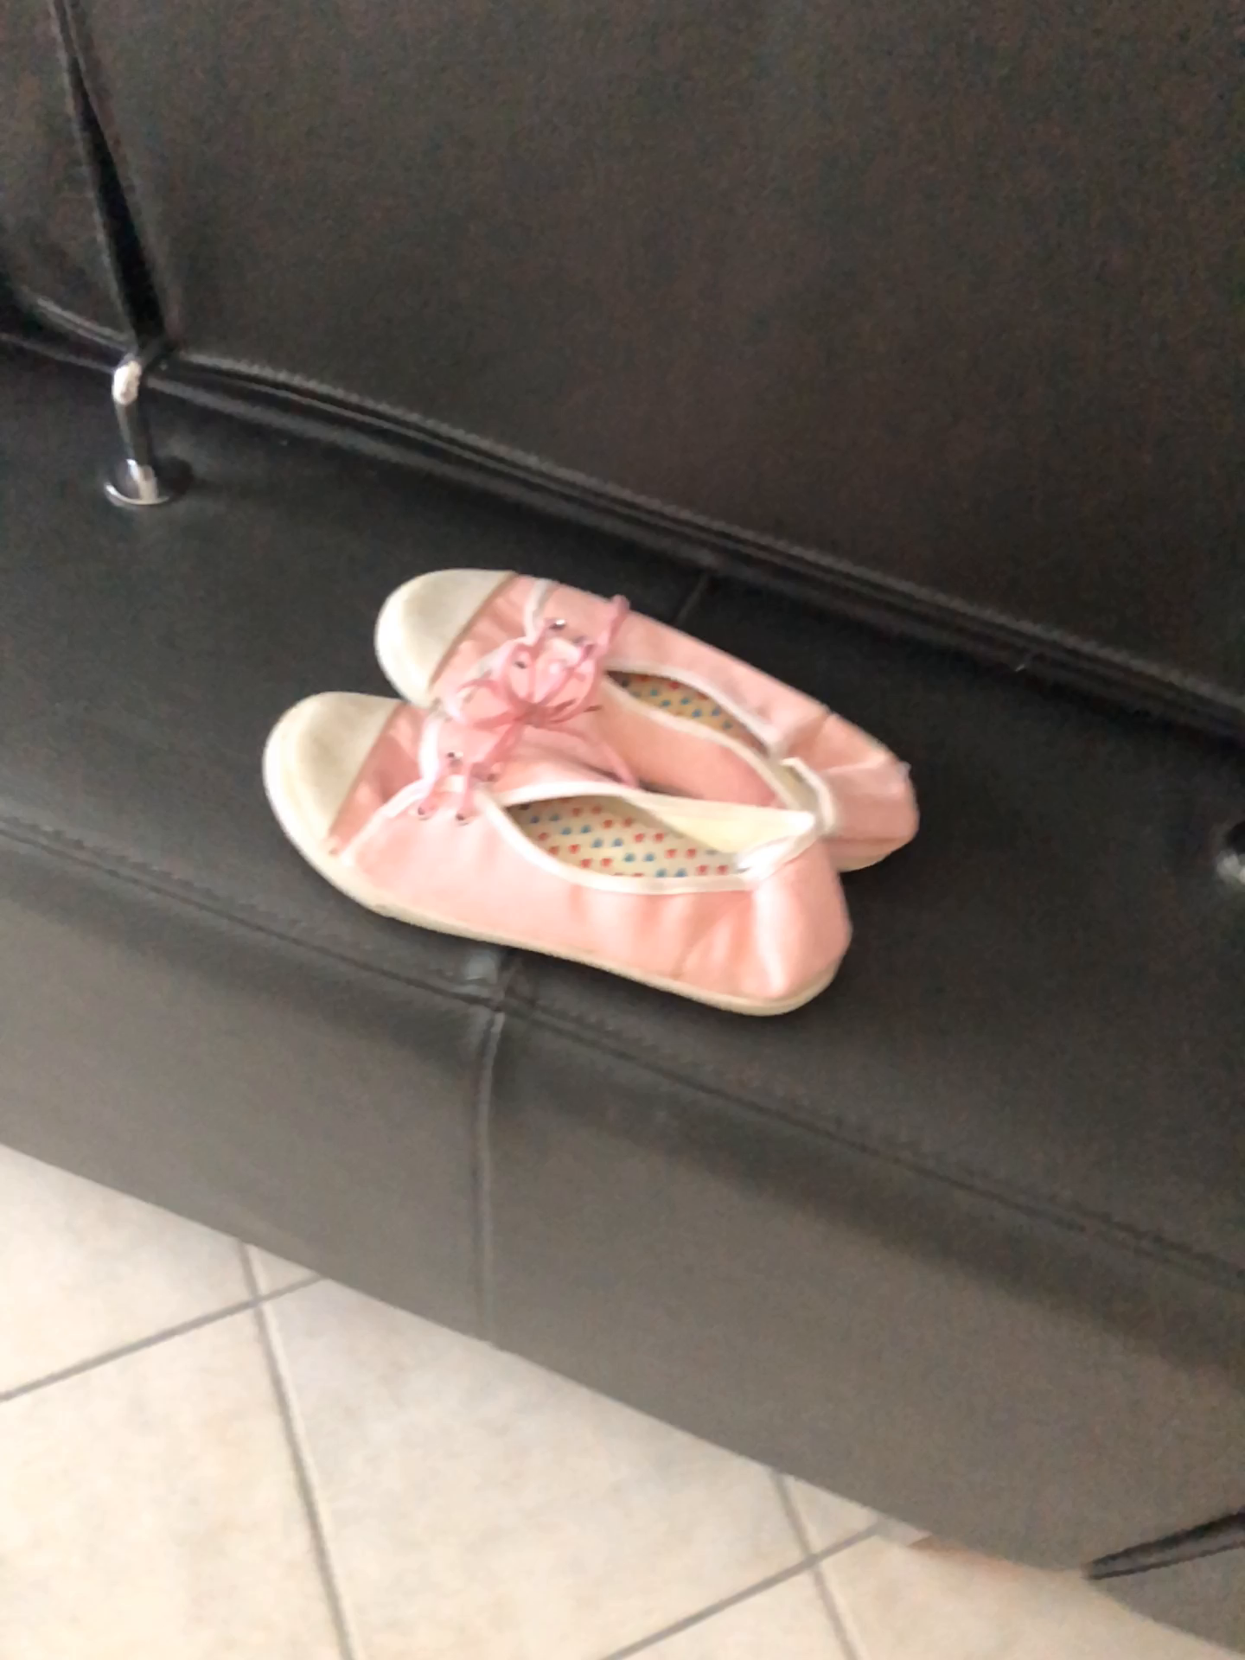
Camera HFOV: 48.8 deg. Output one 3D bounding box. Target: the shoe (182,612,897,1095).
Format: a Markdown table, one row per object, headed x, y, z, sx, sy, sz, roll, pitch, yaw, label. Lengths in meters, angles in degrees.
| x | y | z | sx | sy | sz | roll | pitch | yaw | label |
| --- | --- | --- | --- | --- | --- | --- | --- | --- | --- |
| -0.030 | 0.004 | 0.508 | 0.240 | 0.040 | 0.090 | 22 | 57 | 9 | shoe |

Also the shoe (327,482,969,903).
| x | y | z | sx | sy | sz | roll | pitch | yaw | label |
| --- | --- | --- | --- | --- | --- | --- | --- | --- | --- |
| 0.010 | -0.060 | 0.562 | 0.240 | 0.040 | 0.090 | 22 | 57 | 9 | shoe |
